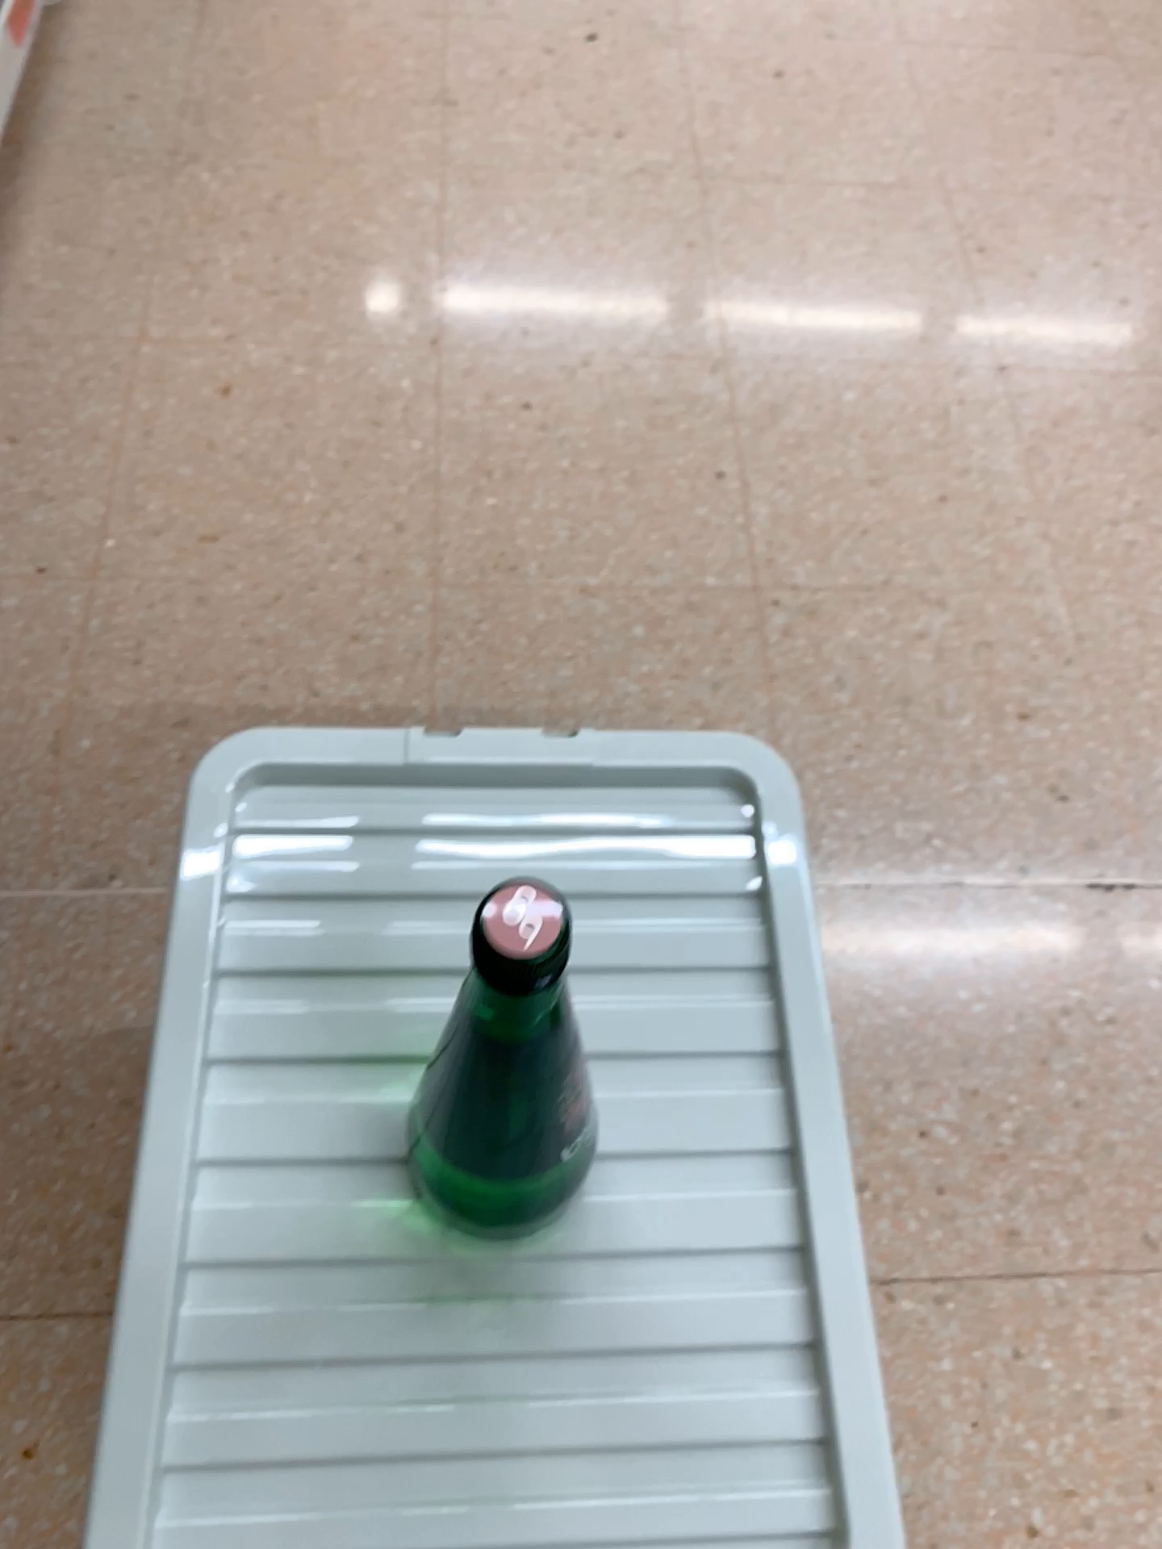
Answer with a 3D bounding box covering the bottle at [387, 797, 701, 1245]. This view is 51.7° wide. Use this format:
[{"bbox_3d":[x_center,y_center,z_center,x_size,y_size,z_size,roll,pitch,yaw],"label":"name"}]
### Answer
[{"bbox_3d":[-0.024,0.115,0.471,0.085,0.287,0.091,2,61,-4],"label":"bottle"}]
